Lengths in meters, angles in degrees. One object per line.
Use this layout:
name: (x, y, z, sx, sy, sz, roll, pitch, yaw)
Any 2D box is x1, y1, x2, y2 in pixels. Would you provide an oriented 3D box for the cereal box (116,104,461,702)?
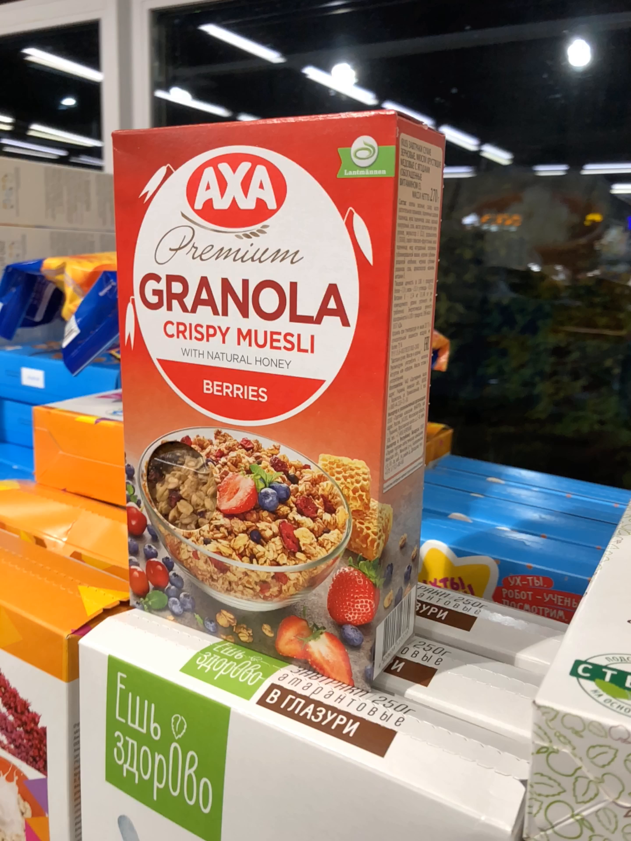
cereal box: (-0.017, -0.010, 0.302, 0.130, 0.219, 0.050, 10, 16, 29)
